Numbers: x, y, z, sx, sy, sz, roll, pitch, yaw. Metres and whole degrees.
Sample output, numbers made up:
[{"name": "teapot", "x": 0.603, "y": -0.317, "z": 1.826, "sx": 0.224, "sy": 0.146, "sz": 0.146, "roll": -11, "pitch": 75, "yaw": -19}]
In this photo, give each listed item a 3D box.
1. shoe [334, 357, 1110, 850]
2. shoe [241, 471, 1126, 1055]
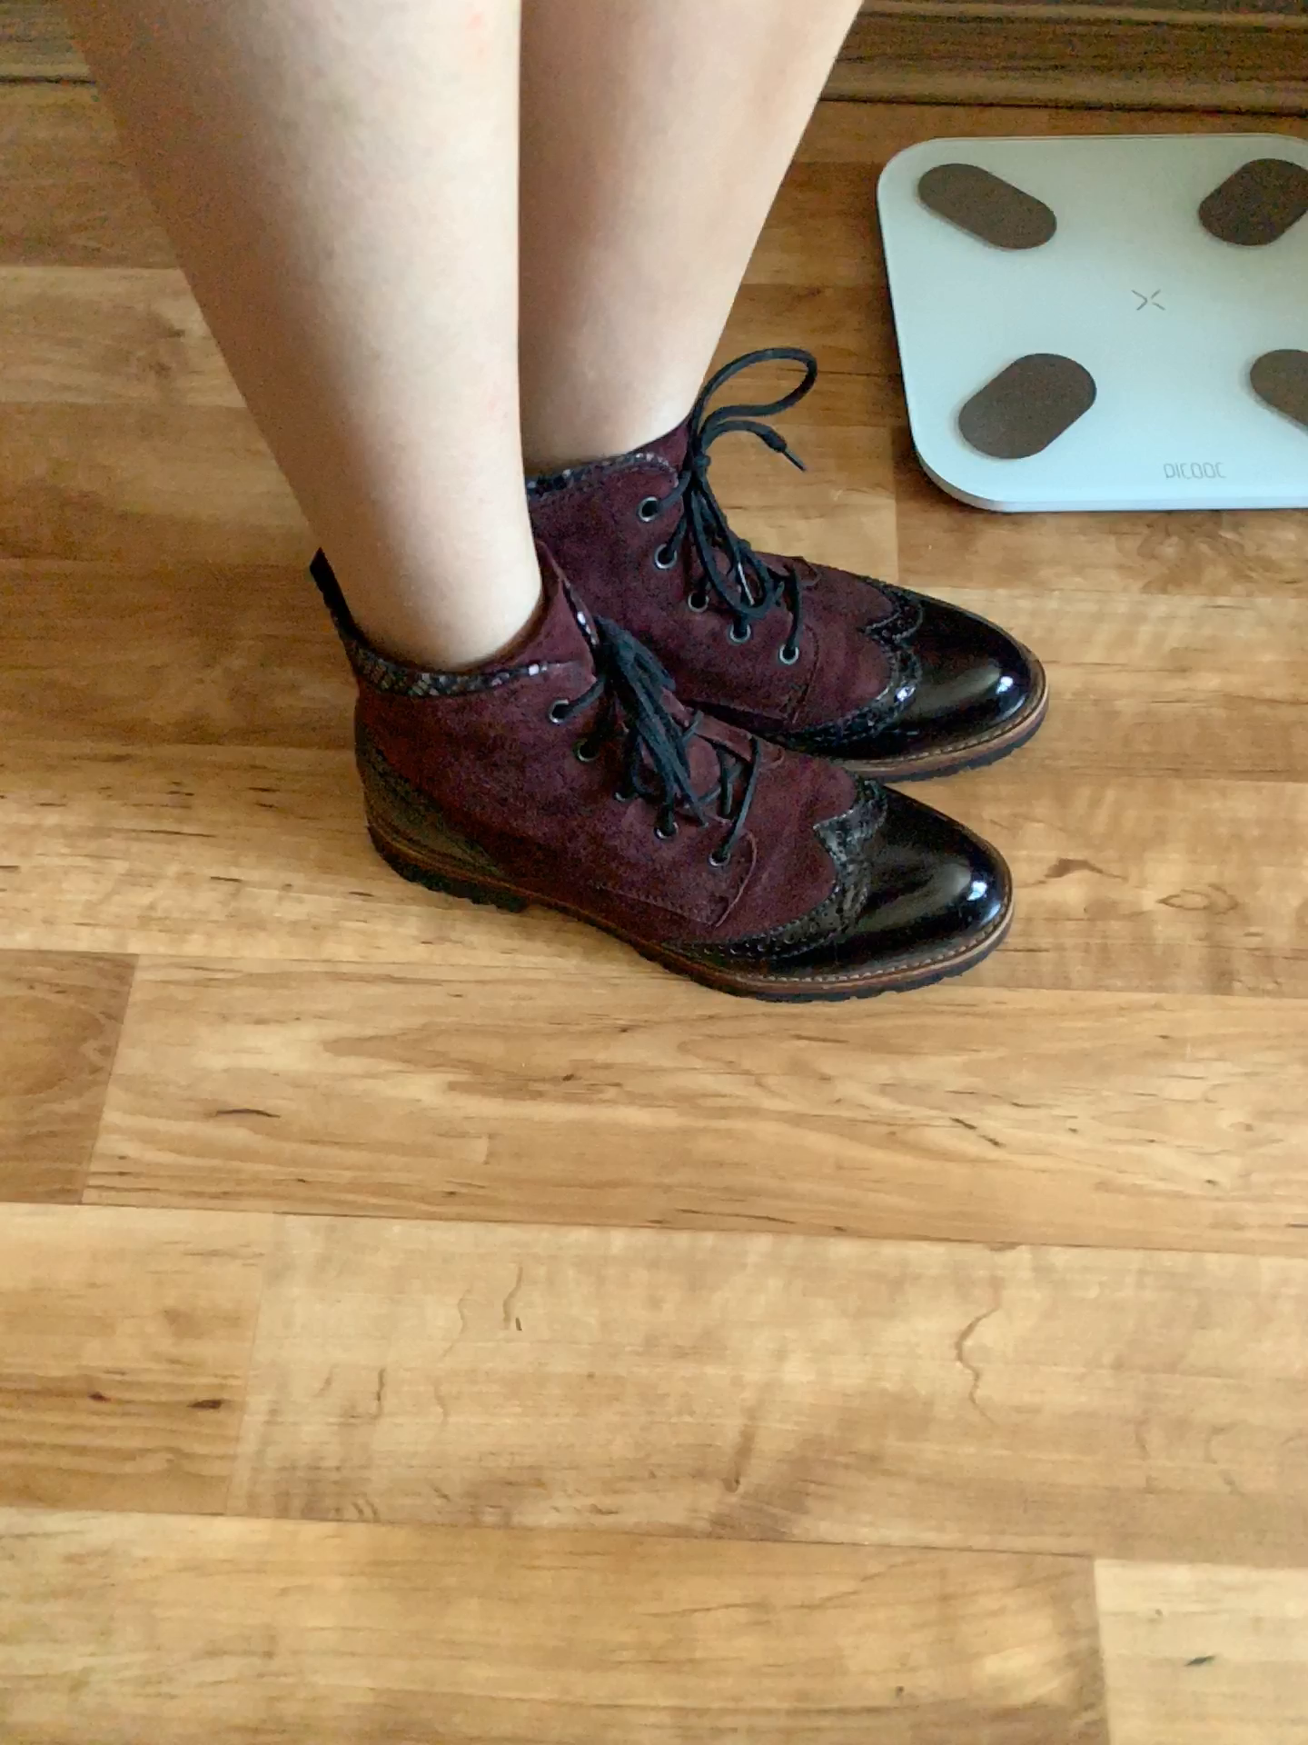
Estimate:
[{"name": "shoe", "x": 0.026, "y": -0.101, "z": 0.530, "sx": 0.260, "sy": 0.140, "sz": 0.100, "roll": 7, "pitch": 62, "yaw": 3}, {"name": "shoe", "x": 0.012, "y": -0.033, "z": 0.477, "sx": 0.260, "sy": 0.140, "sz": 0.100, "roll": 12, "pitch": 62, "yaw": 6}]
